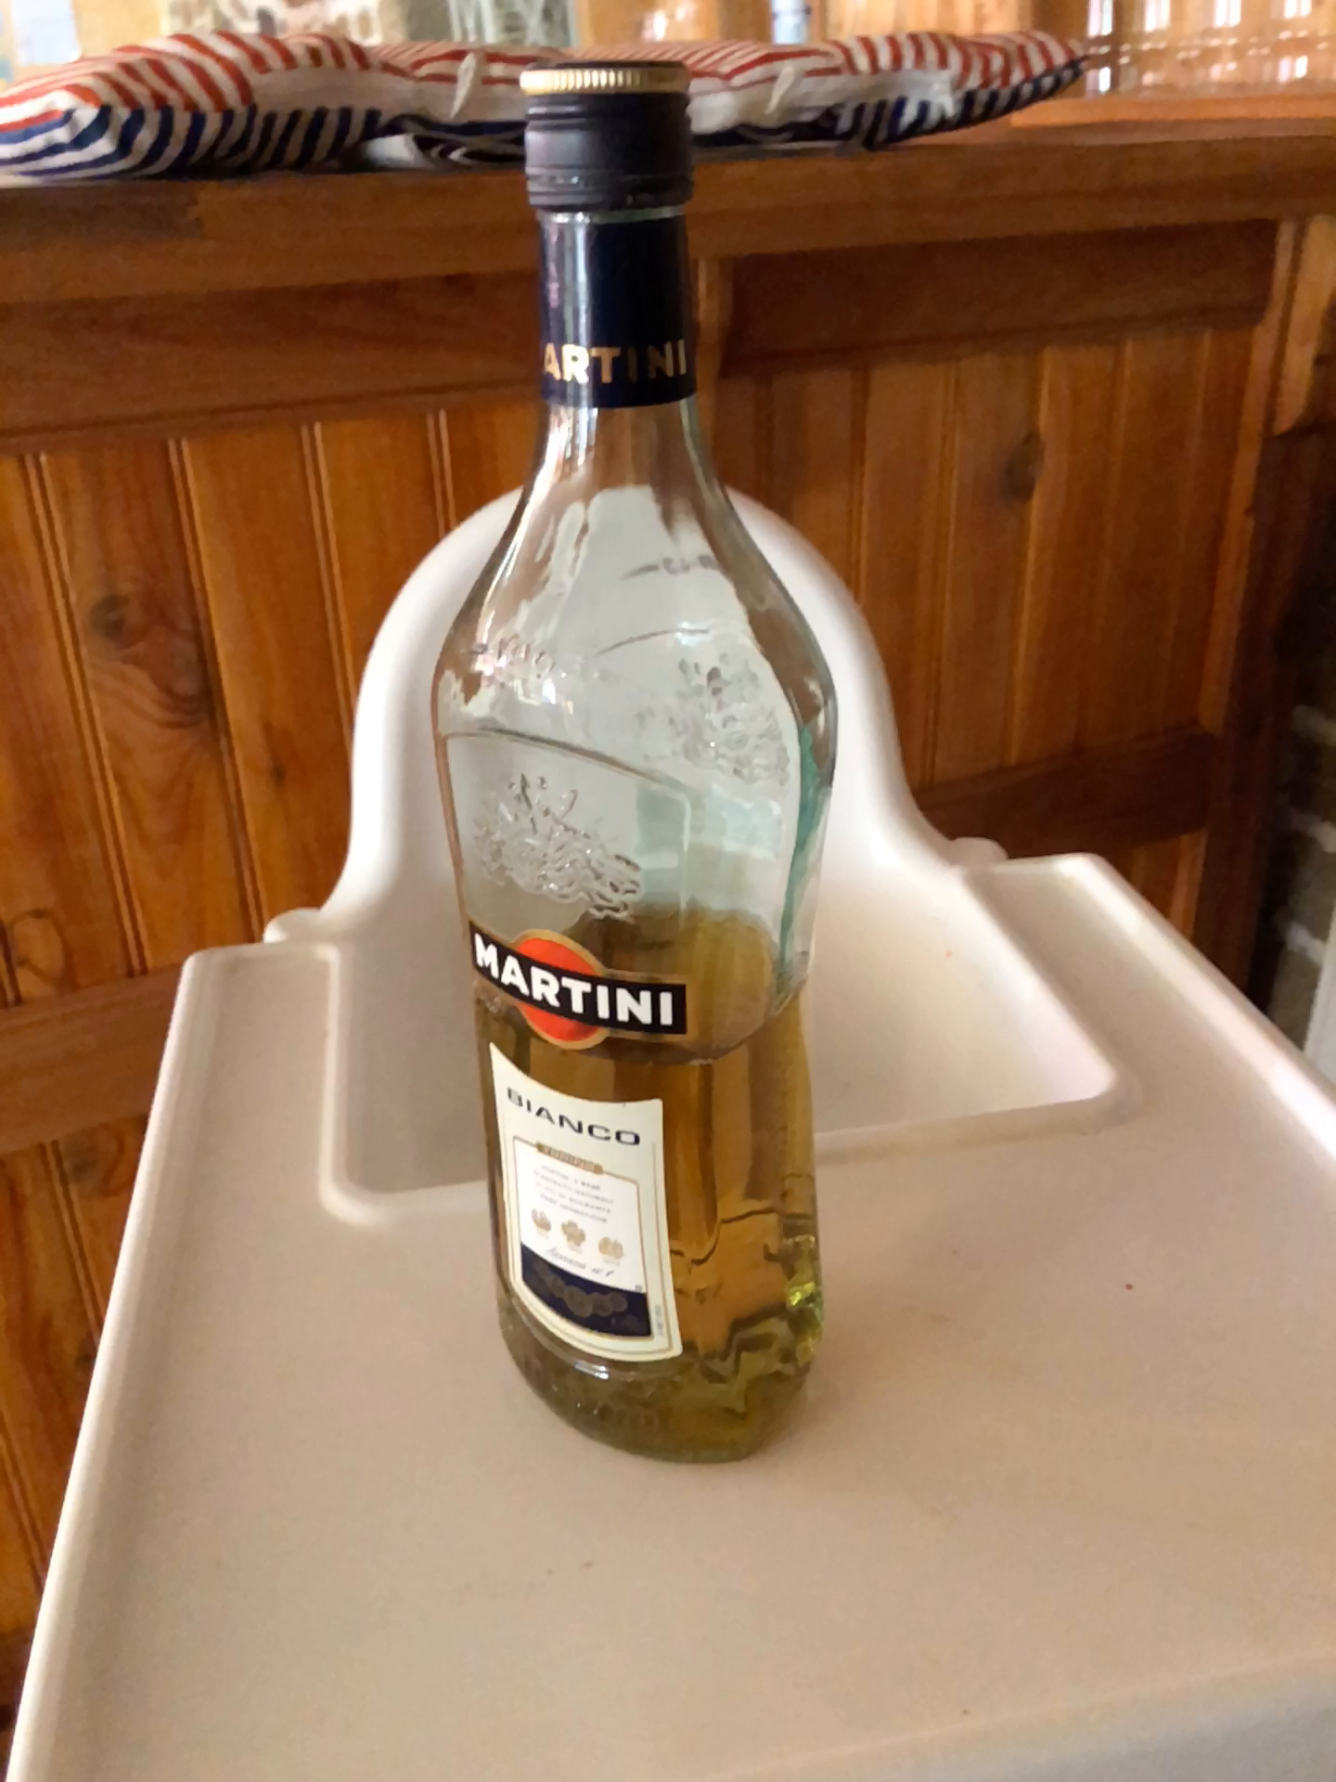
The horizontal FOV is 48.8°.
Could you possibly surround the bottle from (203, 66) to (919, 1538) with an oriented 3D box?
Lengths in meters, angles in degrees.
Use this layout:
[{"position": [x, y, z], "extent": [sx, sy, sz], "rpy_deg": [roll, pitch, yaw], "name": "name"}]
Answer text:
[{"position": [-0.016, -0.011, 0.351], "extent": [0.110, 0.318, 0.080], "rpy_deg": [18, 33, 33], "name": "bottle"}]
